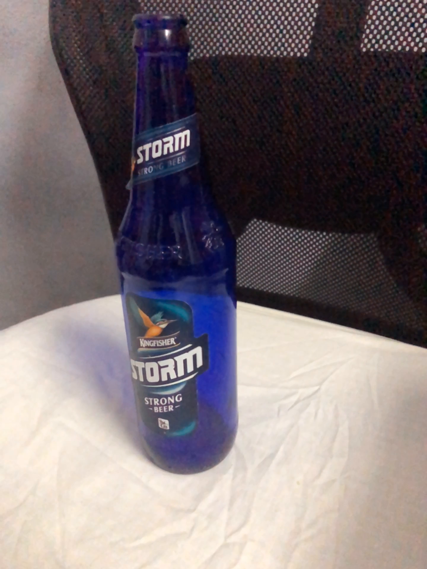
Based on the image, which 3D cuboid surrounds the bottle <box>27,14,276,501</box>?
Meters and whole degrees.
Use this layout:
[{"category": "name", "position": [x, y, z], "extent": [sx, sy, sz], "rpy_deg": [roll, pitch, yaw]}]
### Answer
[{"category": "bottle", "position": [-0.022, -0.002, 0.267], "extent": [0.080, 0.259, 0.070], "rpy_deg": [12, 33, 20]}]
